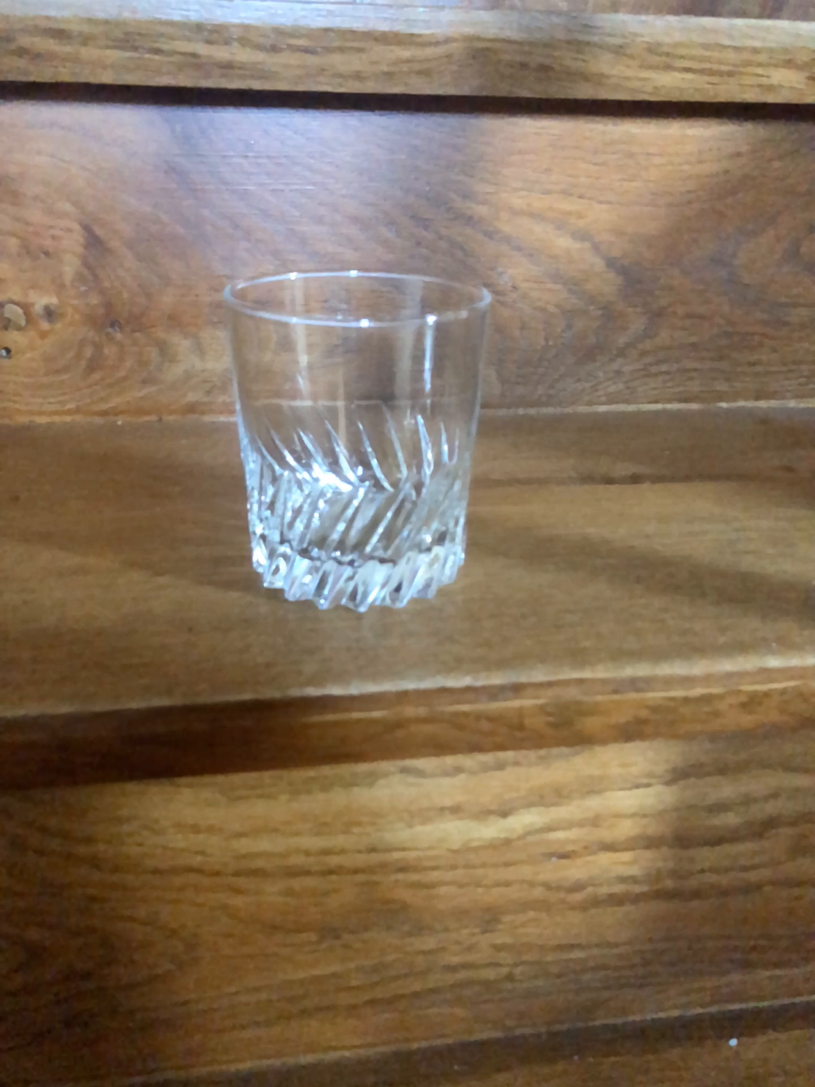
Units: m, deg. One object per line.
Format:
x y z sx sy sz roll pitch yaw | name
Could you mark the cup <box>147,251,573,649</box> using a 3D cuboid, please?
-0.016 -0.039 0.283 0.090 0.090 0.090 1 24 0 | cup
